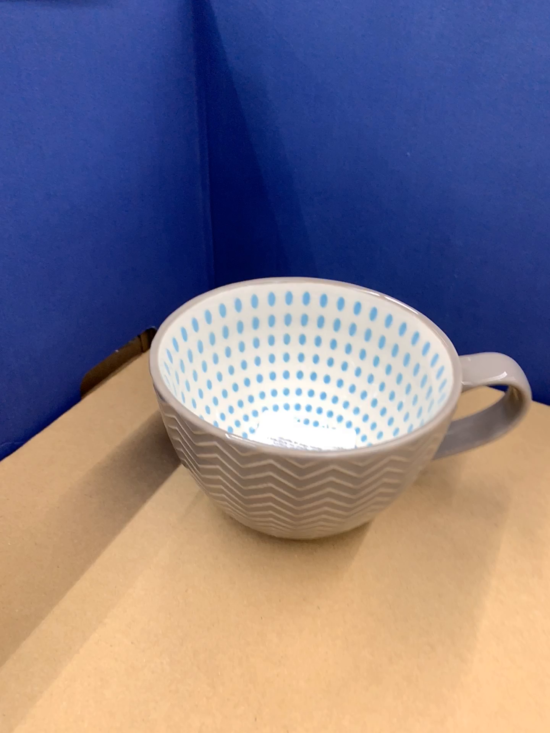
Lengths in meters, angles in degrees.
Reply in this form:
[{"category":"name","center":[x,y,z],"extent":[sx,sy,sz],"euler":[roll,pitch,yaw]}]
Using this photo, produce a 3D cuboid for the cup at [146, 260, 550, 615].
[{"category":"cup","center":[0.026,0.015,0.225],"extent":[0.143,0.061,0.119],"euler":[-5,34,-9]}]
